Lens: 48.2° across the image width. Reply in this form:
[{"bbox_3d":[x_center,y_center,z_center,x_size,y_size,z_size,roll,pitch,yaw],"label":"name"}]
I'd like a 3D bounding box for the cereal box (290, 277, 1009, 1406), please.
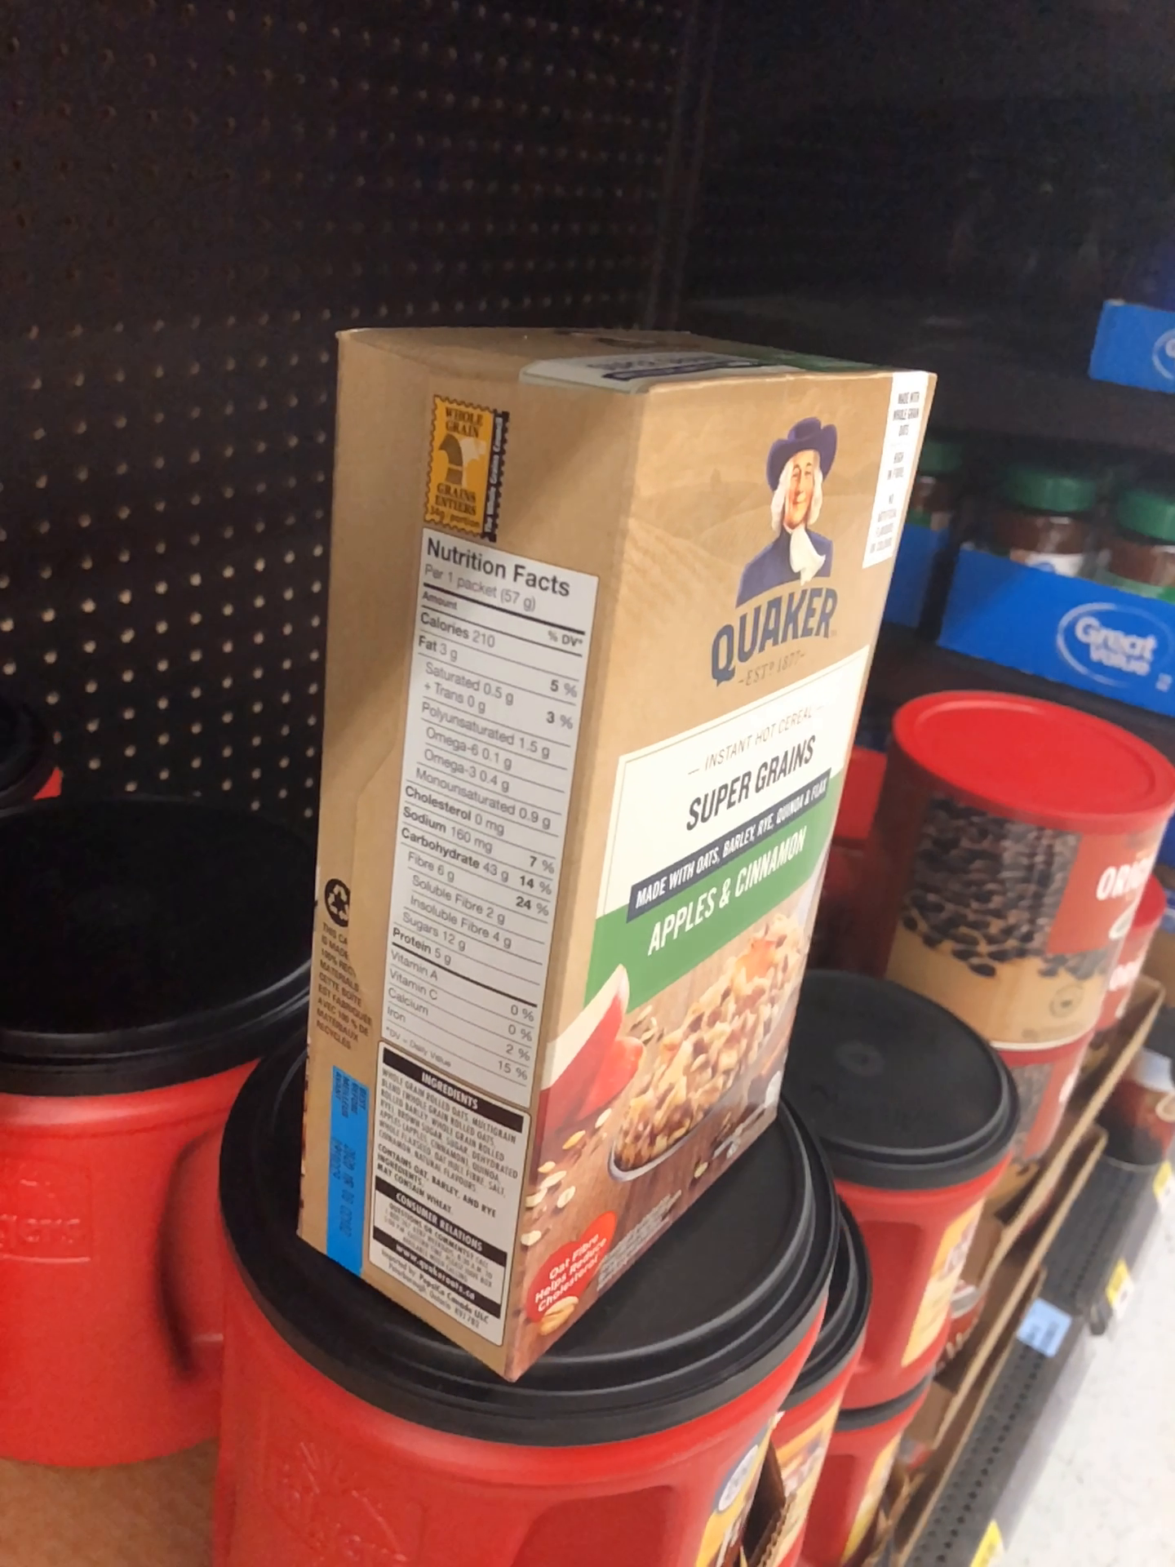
[{"bbox_3d":[0.013,0.002,0.283,0.060,0.199,0.140,23,29,30],"label":"cereal box"}]
